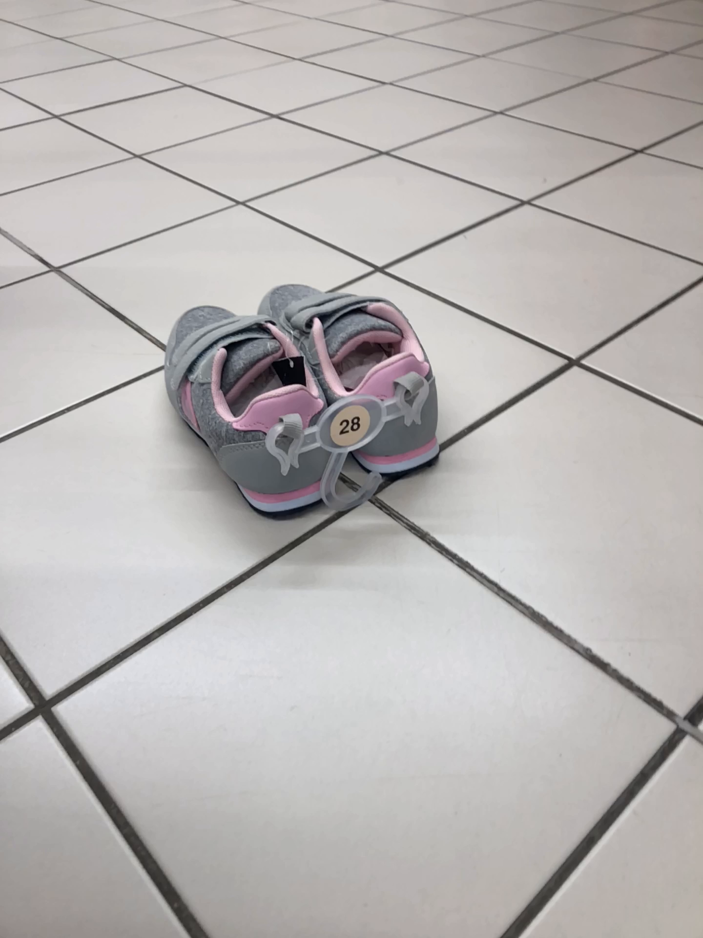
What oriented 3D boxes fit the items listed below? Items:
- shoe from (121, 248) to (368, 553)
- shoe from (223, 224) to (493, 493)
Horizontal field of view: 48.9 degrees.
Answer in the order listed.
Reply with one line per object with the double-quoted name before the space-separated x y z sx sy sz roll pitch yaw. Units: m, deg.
"shoe" -0.067 -0.050 0.457 0.080 0.080 0.181 -18 43 -18
"shoe" -0.003 -0.077 0.477 0.080 0.070 0.181 -21 44 -21
